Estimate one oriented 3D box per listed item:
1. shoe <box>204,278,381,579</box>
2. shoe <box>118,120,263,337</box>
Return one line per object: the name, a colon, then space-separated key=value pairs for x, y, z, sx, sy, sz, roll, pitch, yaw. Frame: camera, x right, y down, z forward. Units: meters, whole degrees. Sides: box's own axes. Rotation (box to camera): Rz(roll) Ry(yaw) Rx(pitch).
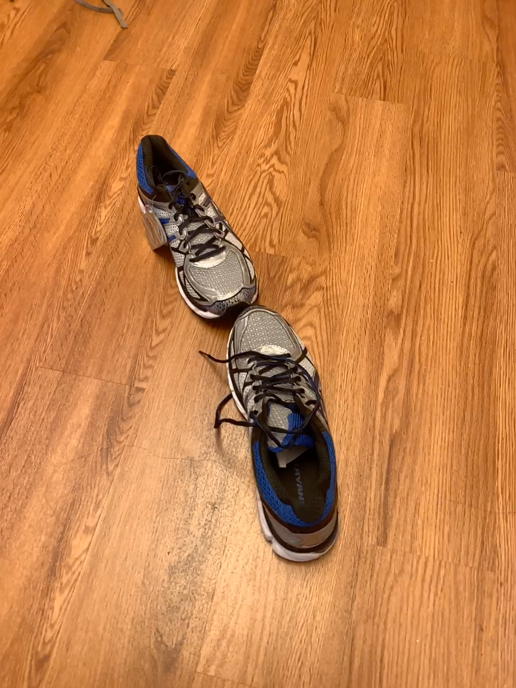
shoe: x=0.025 y=0.087 z=0.605 sx=0.100 sy=0.100 sz=0.311 roll=-14 pitch=62 yaw=-8
shoe: x=-0.097 y=-0.168 z=0.737 sx=0.100 sy=0.100 sz=0.291 roll=-20 pitch=63 yaw=-11
